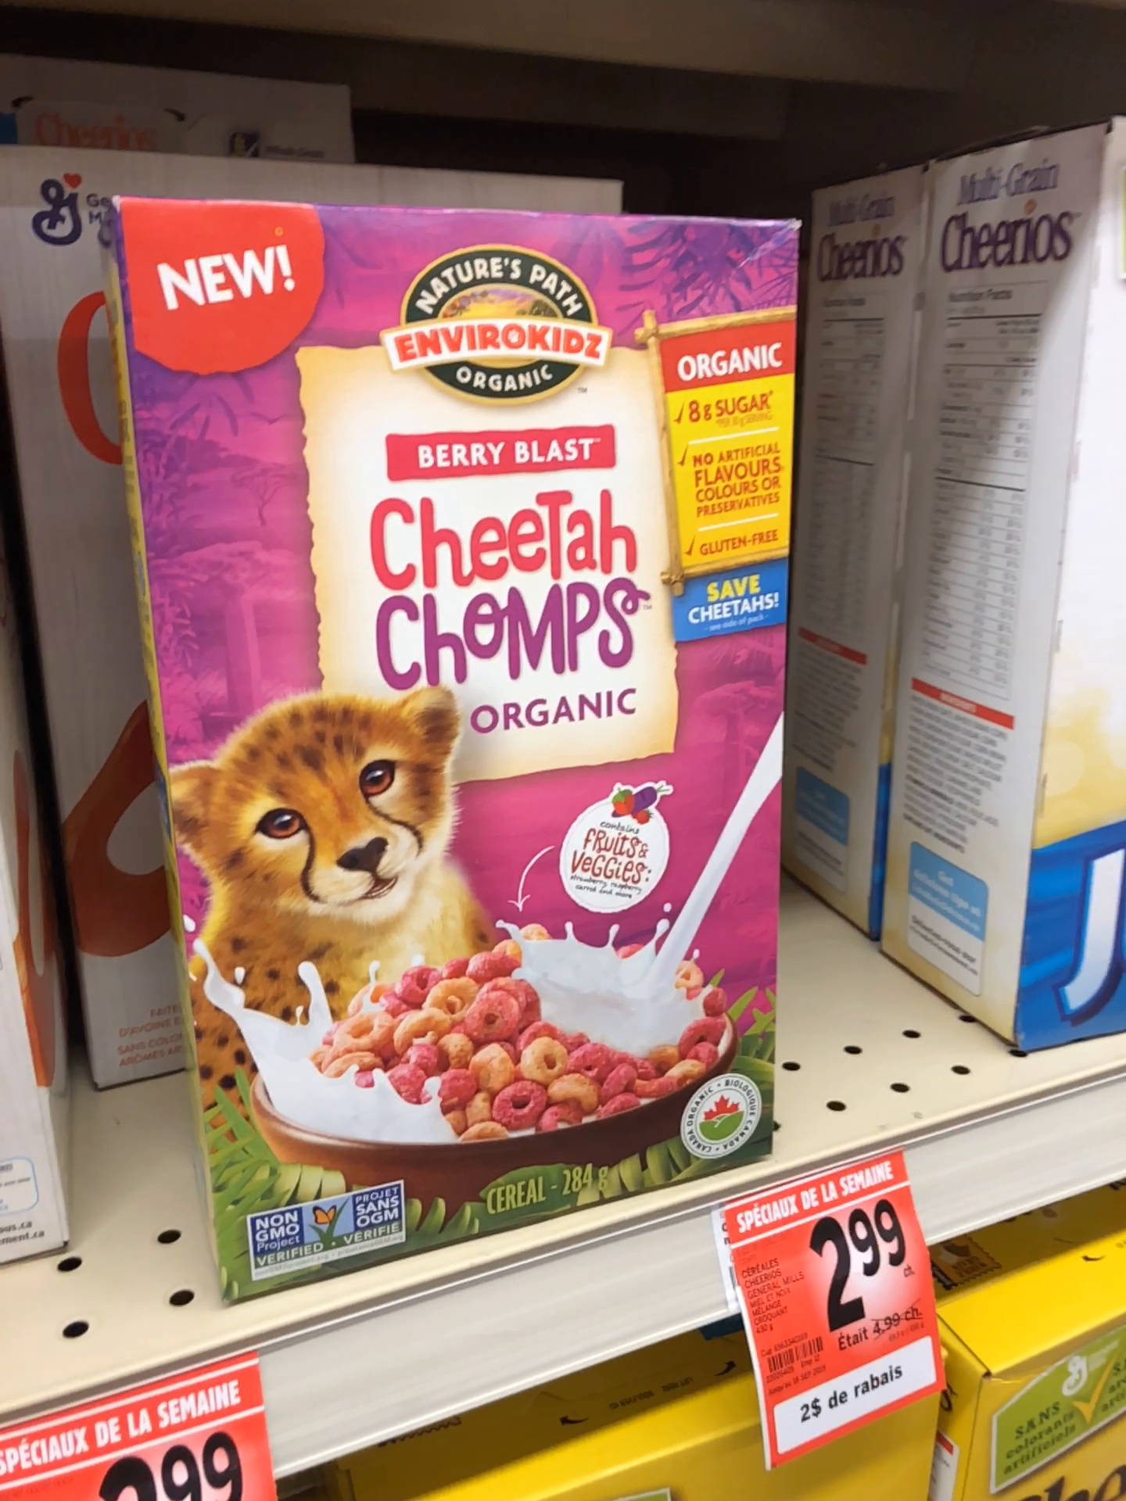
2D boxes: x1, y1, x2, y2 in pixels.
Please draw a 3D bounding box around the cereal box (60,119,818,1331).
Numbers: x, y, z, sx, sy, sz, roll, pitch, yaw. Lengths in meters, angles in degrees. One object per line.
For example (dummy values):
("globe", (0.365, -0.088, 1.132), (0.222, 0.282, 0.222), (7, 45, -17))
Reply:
("cereal box", (-0.027, -0.007, 0.318), (0.160, 0.259, 0.070), (-7, 16, -20))
